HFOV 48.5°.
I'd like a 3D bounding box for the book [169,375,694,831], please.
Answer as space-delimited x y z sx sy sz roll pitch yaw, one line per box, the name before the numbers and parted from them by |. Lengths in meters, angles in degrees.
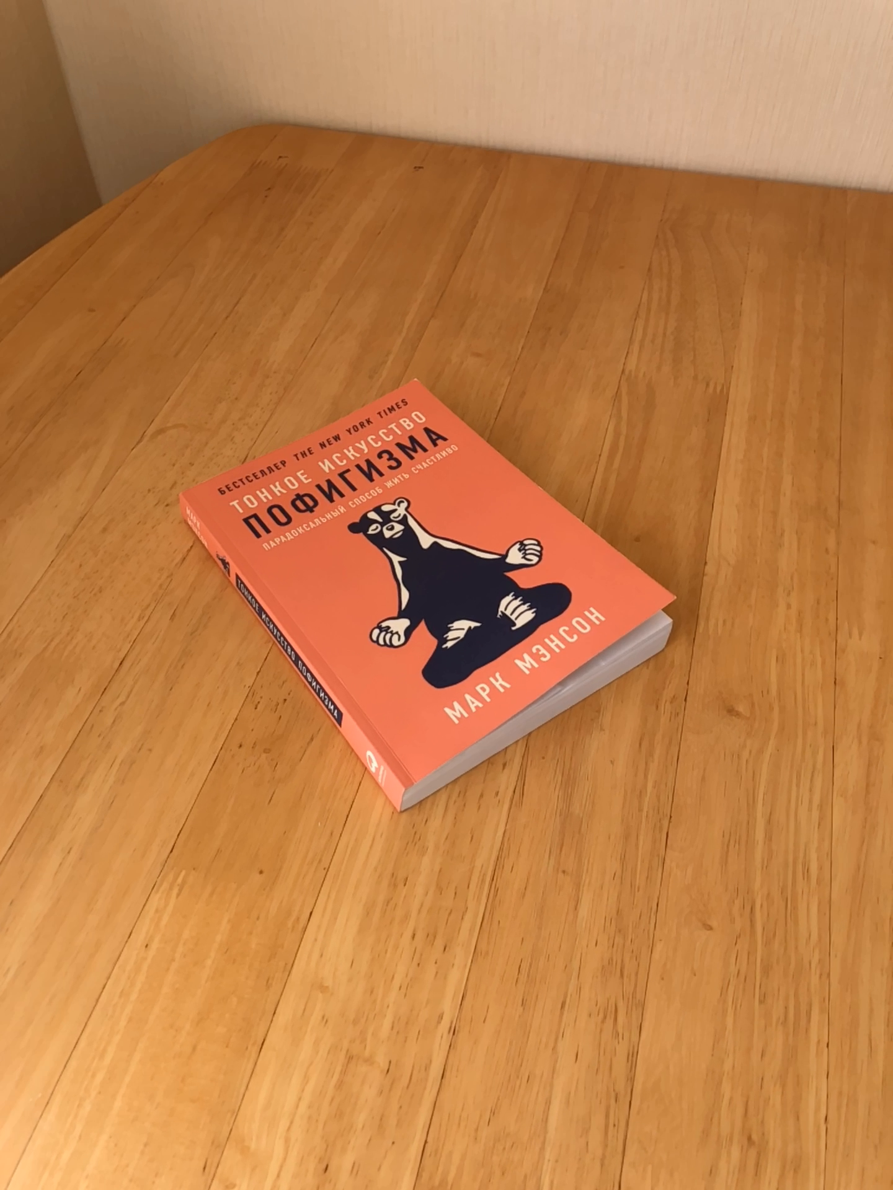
book | -0.013 -0.012 0.448 0.143 0.033 0.197 -29 54 -23
